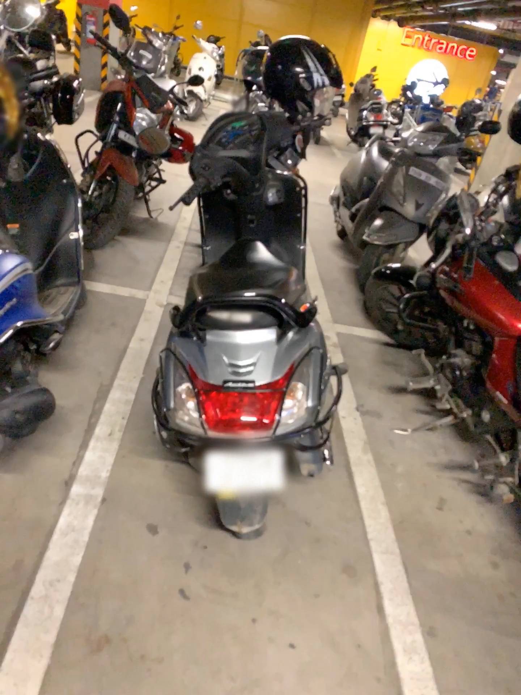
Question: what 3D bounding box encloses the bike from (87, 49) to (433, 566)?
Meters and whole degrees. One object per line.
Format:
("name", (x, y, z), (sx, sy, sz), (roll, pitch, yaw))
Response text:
("bike", (-0.114, -0.296, 1.895), (0.630, 1.089, 1.542), (8, 33, -9))
